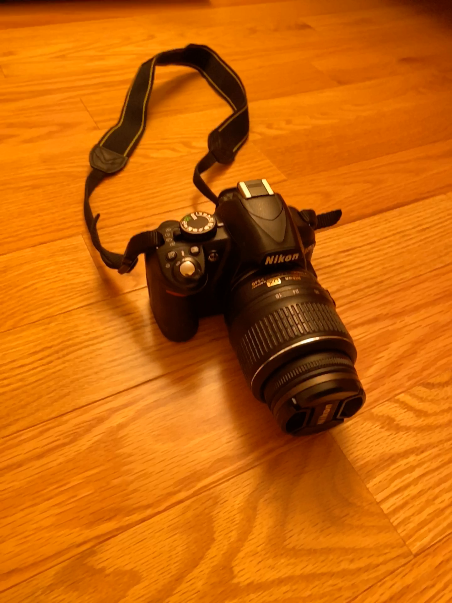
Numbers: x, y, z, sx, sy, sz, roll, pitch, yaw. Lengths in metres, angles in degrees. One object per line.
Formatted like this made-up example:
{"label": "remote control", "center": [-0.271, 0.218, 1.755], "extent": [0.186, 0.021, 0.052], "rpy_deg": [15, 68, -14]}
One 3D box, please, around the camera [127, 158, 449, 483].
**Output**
{"label": "camera", "center": [0.022, 0.002, 0.304], "extent": [0.130, 0.099, 0.161], "rpy_deg": [-13, 50, -15]}
